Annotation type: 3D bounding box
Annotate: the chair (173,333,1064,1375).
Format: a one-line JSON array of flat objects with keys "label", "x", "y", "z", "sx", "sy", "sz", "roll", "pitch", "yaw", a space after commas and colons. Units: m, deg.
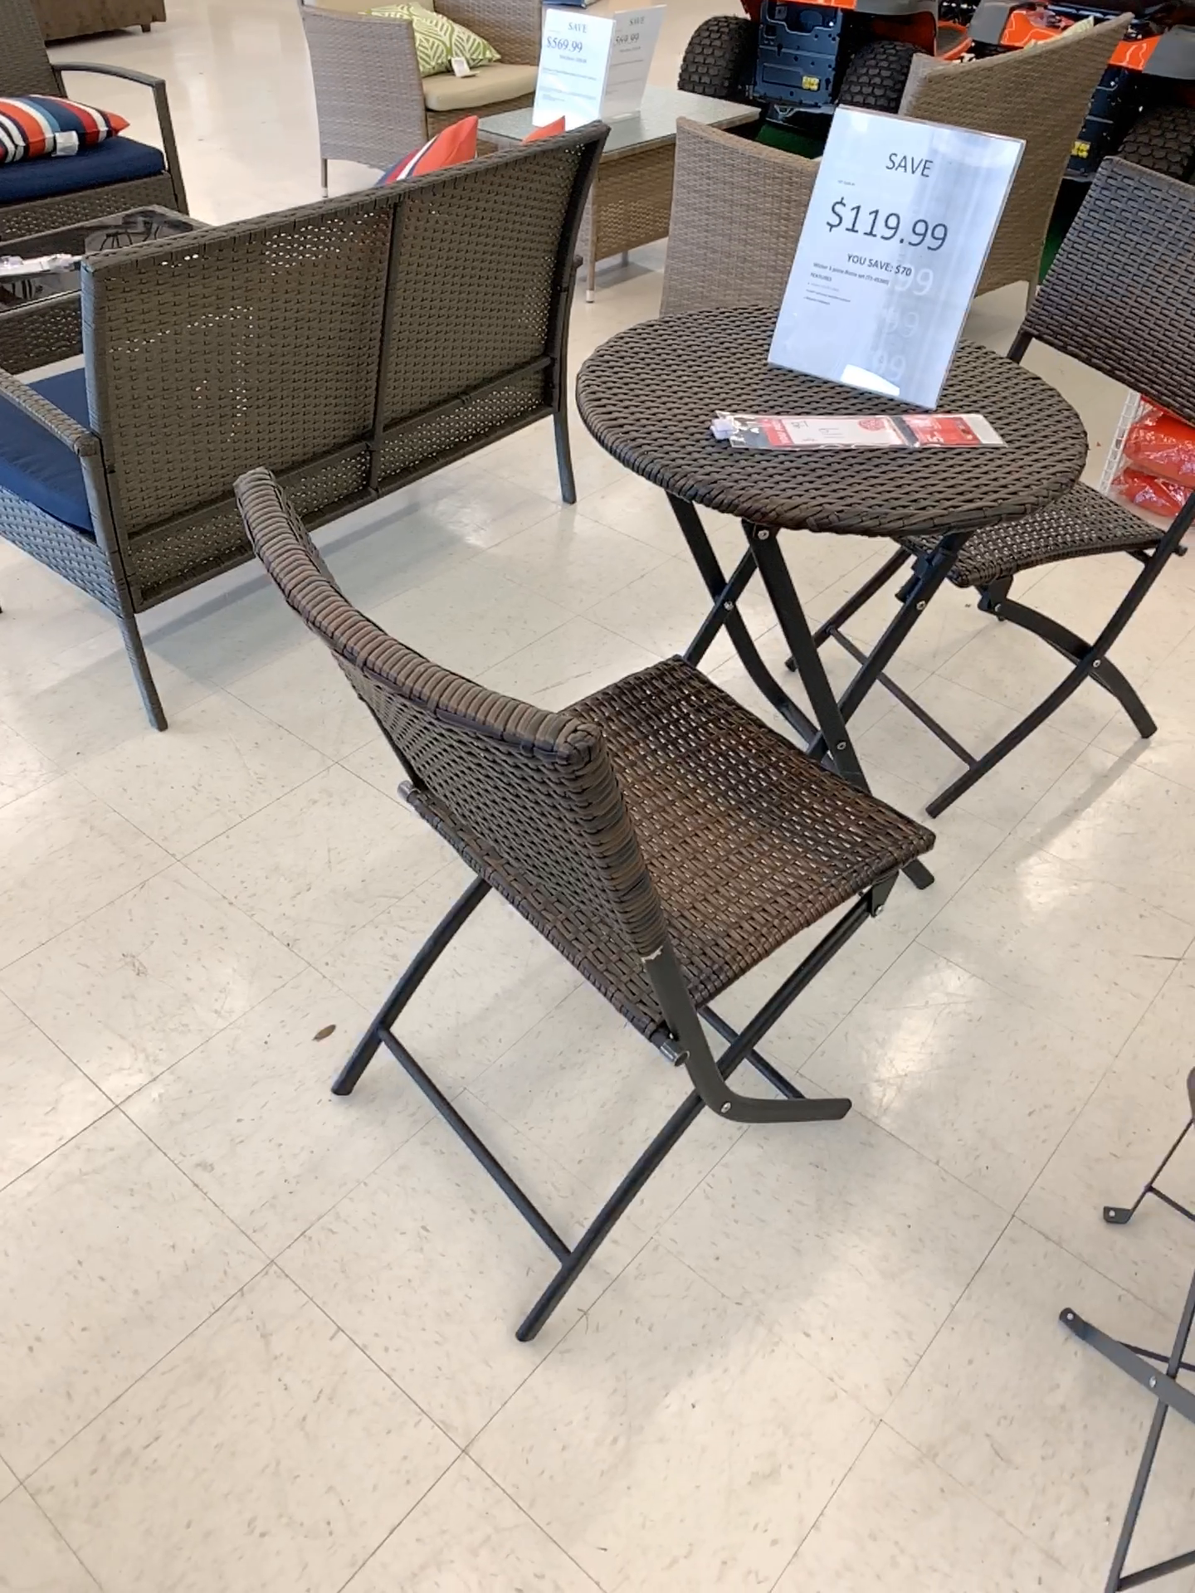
[{"label": "chair", "x": 0.000, "y": 0.053, "z": 1.207, "sx": 0.511, "sy": 0.766, "sz": 0.482, "roll": -27, "pitch": 49, "yaw": -29}]
